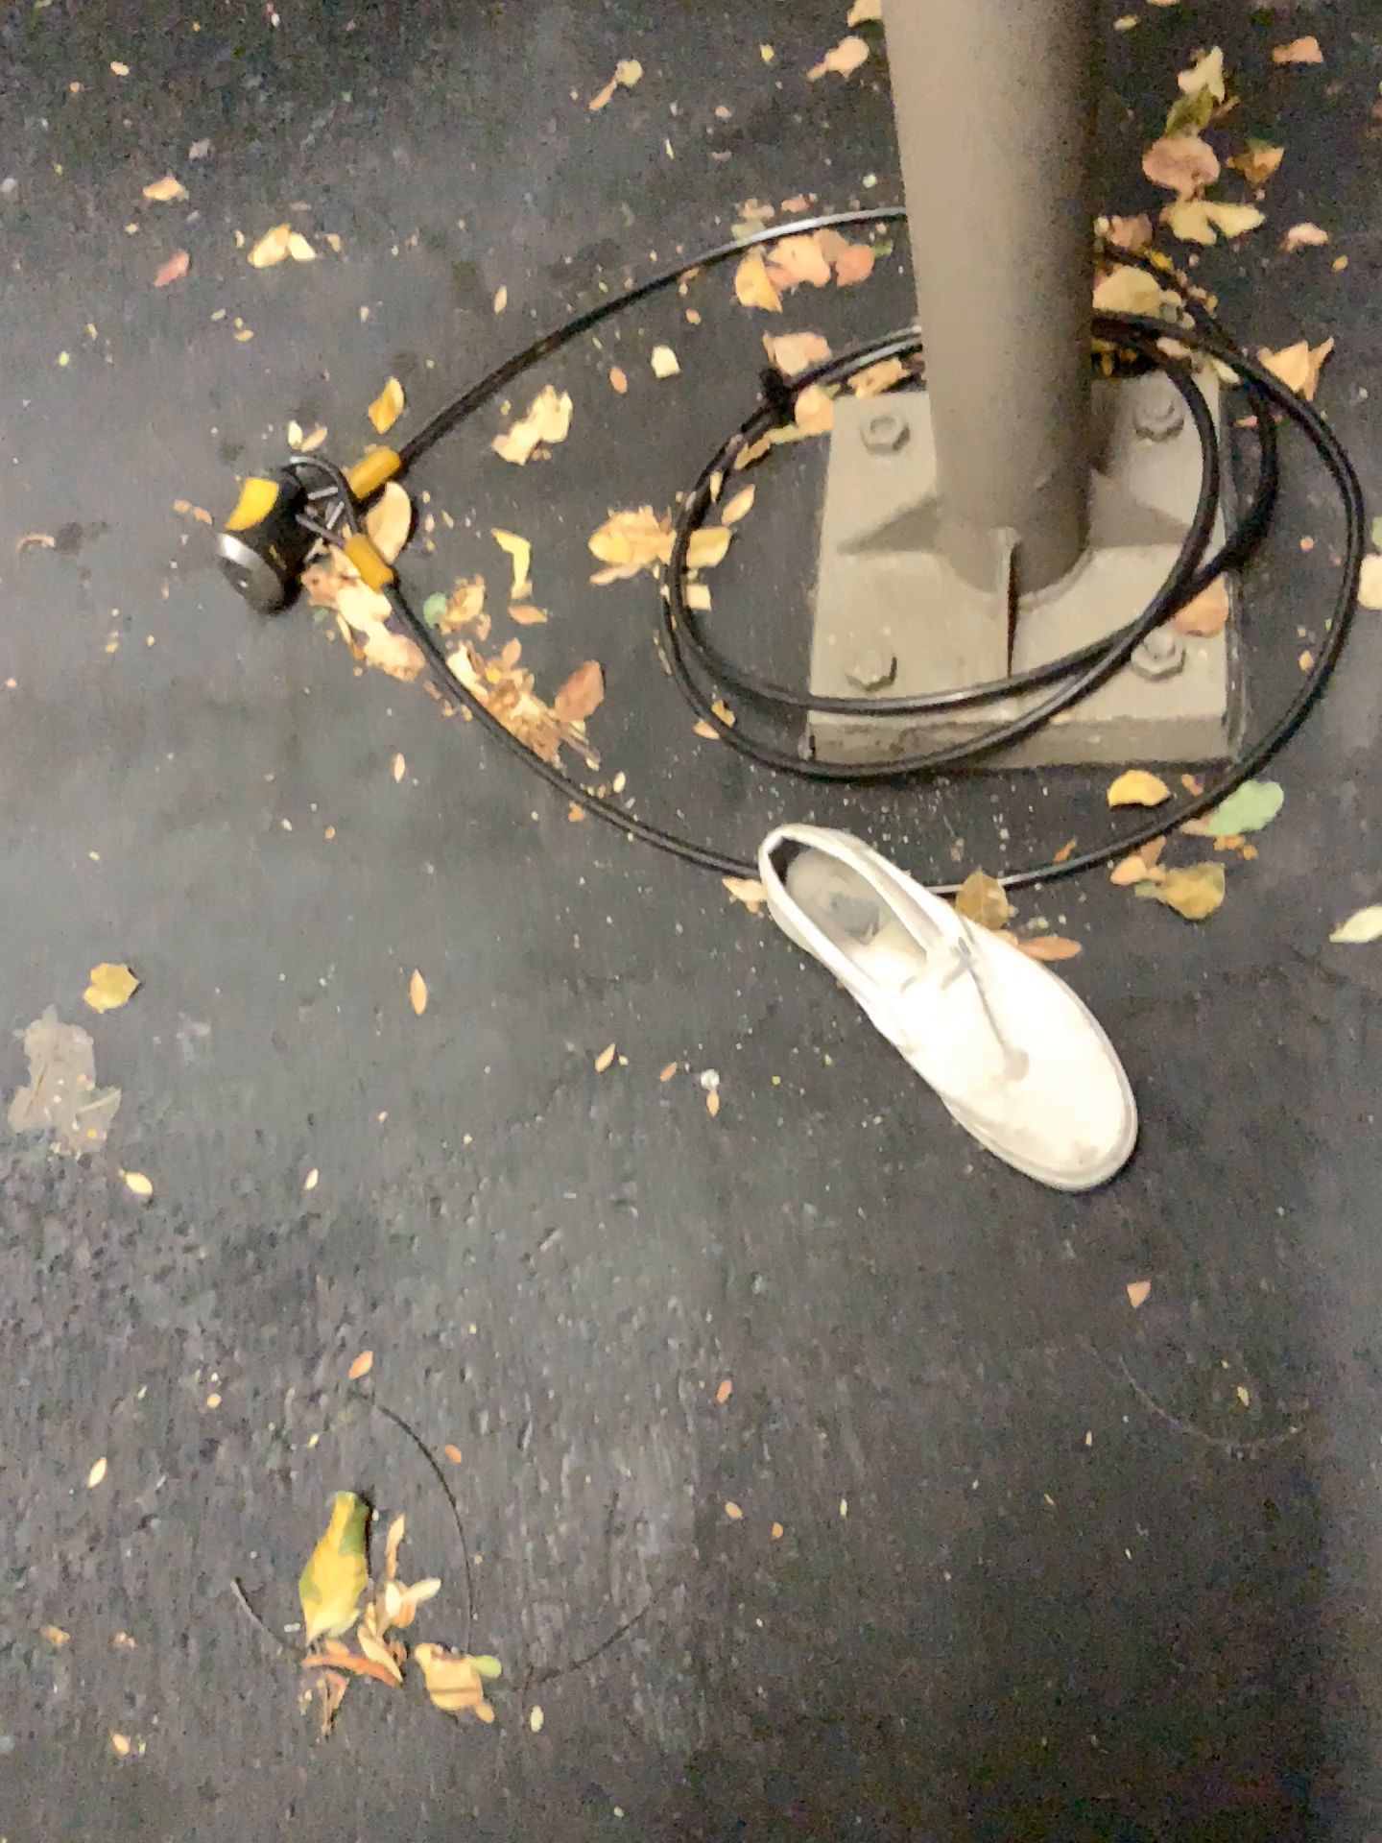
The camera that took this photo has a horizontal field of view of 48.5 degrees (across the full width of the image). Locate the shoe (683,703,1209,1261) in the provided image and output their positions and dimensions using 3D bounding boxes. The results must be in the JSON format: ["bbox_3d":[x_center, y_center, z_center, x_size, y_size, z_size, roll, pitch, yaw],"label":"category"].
[{"bbox_3d":[0.143,0.031,0.904,0.120,0.100,0.310,-38,65,-3],"label":"shoe"}]
